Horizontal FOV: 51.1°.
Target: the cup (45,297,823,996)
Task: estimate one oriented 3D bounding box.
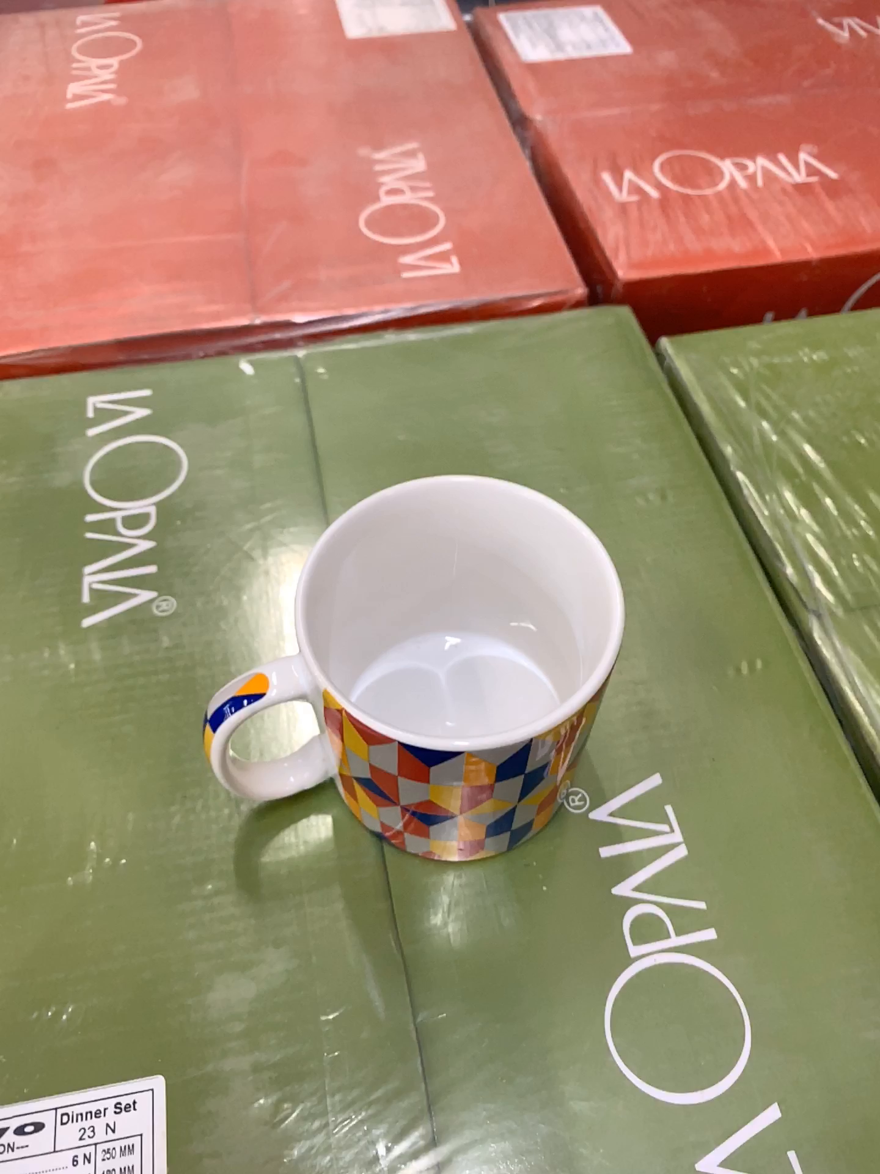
[{"bbox_3d":[-0.004,0.014,0.225,0.130,0.100,0.090,-22,56,-16],"label":"cup"}]
